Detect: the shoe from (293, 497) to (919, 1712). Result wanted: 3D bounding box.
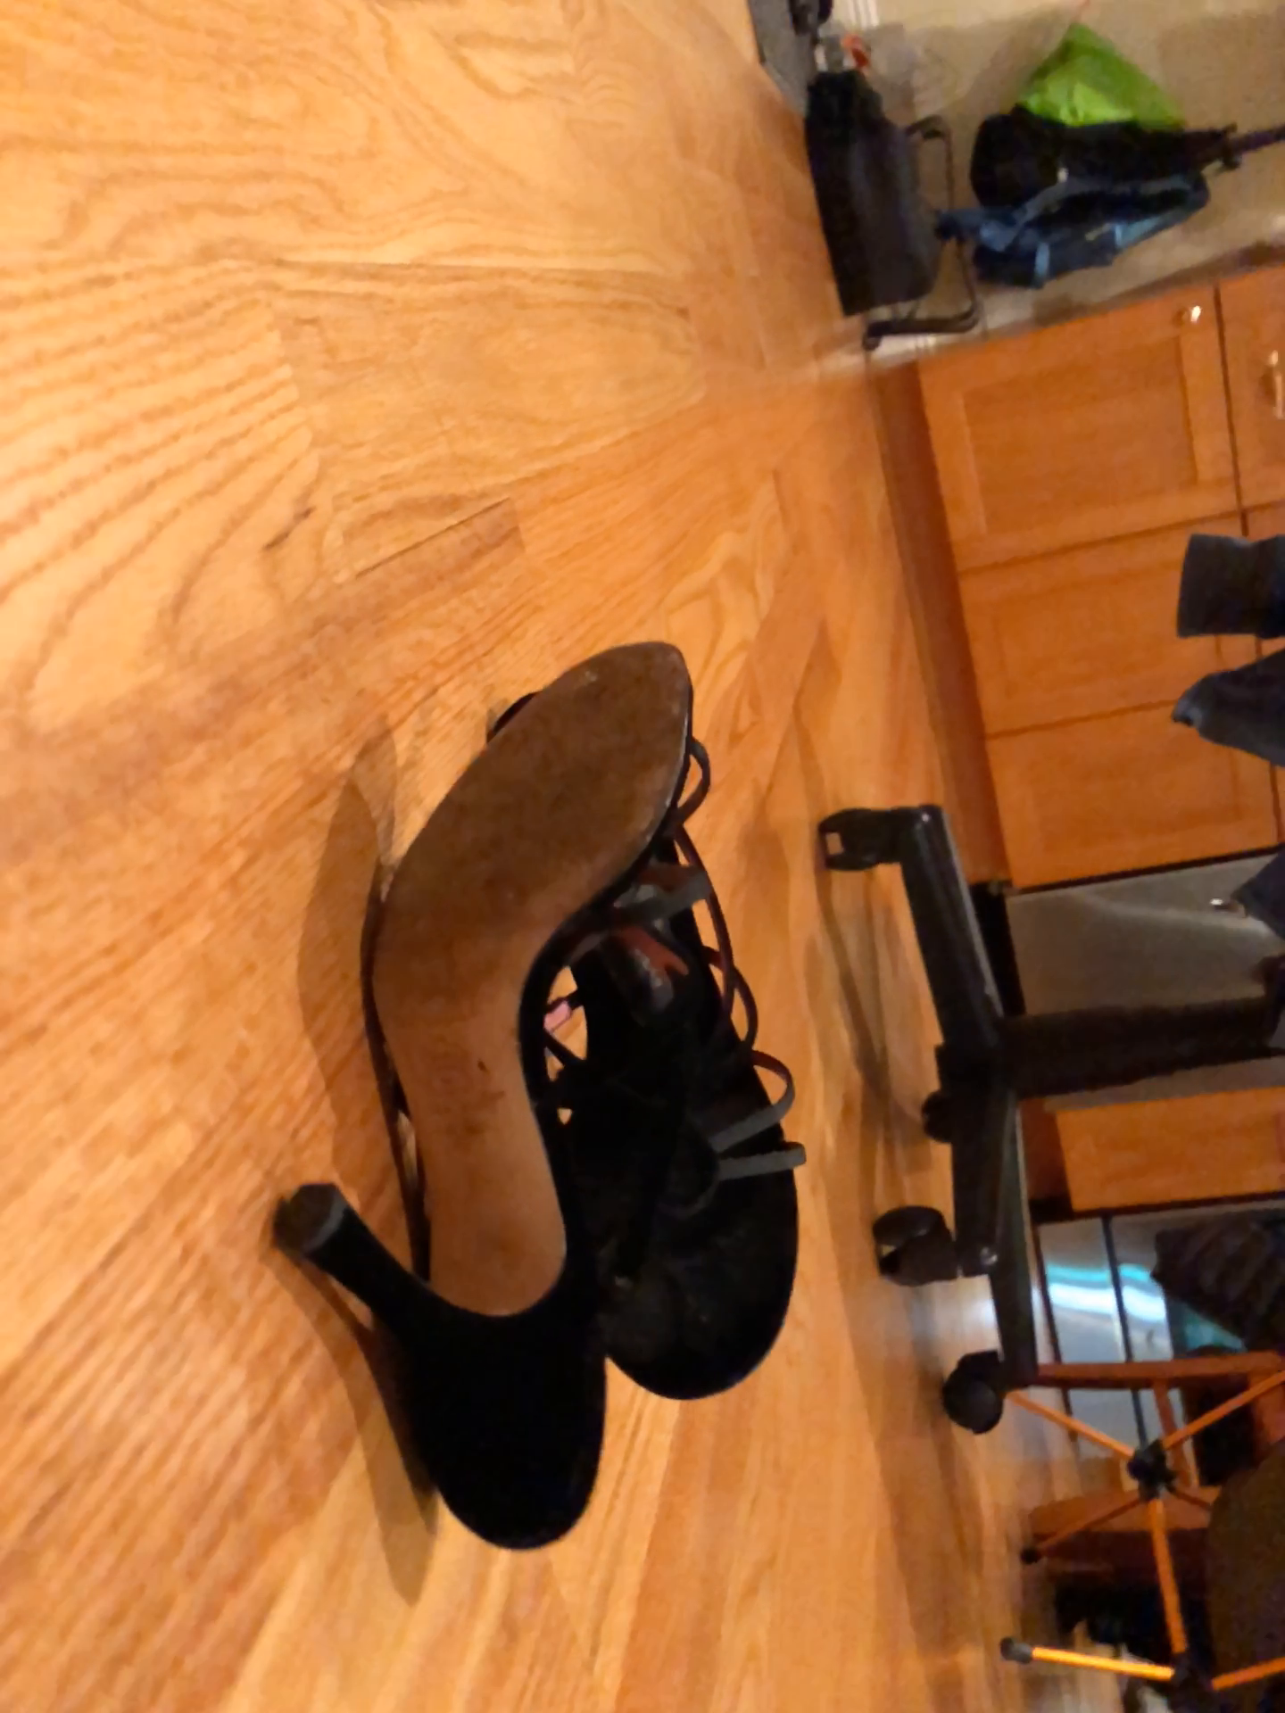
[{"bbox_3d":[-0.011,0.053,0.317,0.082,0.104,0.235,48,35,-67],"label":"shoe"}]

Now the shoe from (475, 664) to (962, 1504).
[{"bbox_3d":[0.023,0.070,0.432,0.102,0.104,0.215,42,40,-66],"label":"shoe"}]
